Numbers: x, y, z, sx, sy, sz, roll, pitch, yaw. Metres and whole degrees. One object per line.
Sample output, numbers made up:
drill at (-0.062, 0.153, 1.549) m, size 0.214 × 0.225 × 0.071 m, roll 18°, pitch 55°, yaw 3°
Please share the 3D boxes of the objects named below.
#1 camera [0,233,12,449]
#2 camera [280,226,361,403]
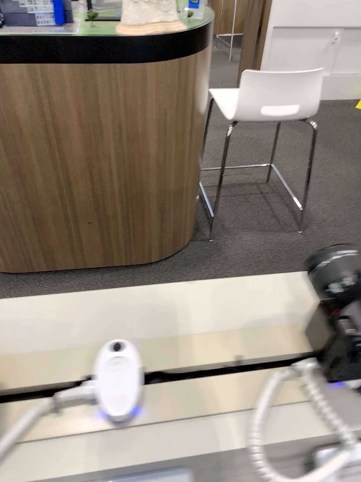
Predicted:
camera at (-0.252, 0.084, 0.335) m, size 0.134 × 0.101 × 0.146 m, roll -4°, pitch 44°, yaw -7°
camera at (0.196, 0.069, 0.379) m, size 0.121 × 0.089 × 0.135 m, roll -7°, pitch 44°, yaw -11°
